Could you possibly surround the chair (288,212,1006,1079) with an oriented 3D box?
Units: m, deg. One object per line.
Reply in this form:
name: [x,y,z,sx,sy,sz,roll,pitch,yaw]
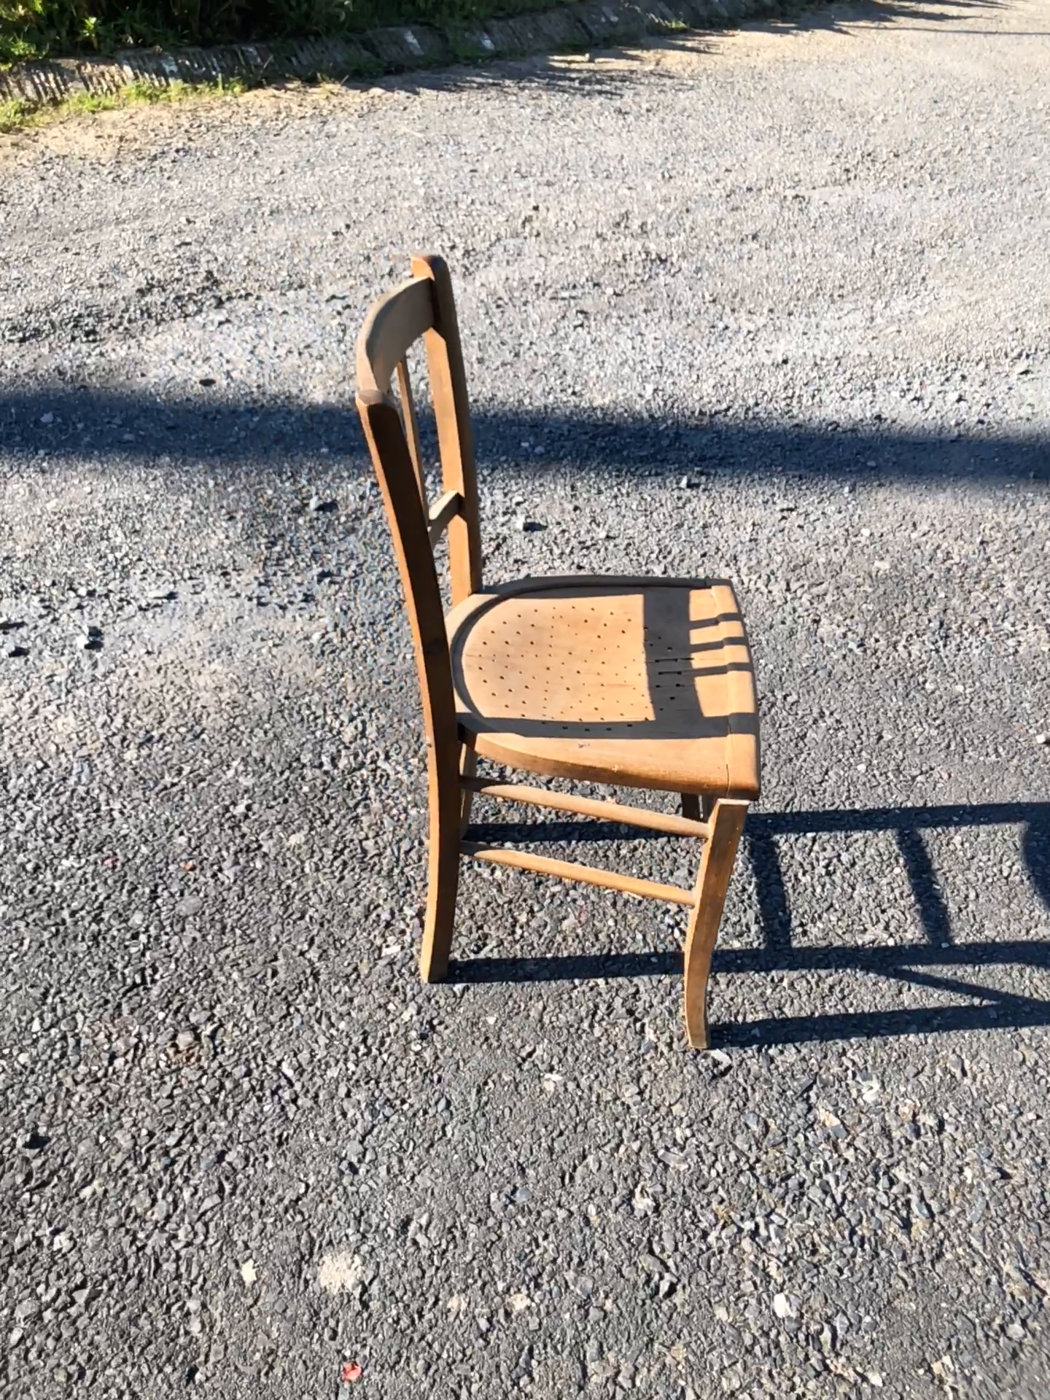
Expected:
chair: [0.069,-0.044,1.277,0.540,0.736,0.493,10,39,0]
